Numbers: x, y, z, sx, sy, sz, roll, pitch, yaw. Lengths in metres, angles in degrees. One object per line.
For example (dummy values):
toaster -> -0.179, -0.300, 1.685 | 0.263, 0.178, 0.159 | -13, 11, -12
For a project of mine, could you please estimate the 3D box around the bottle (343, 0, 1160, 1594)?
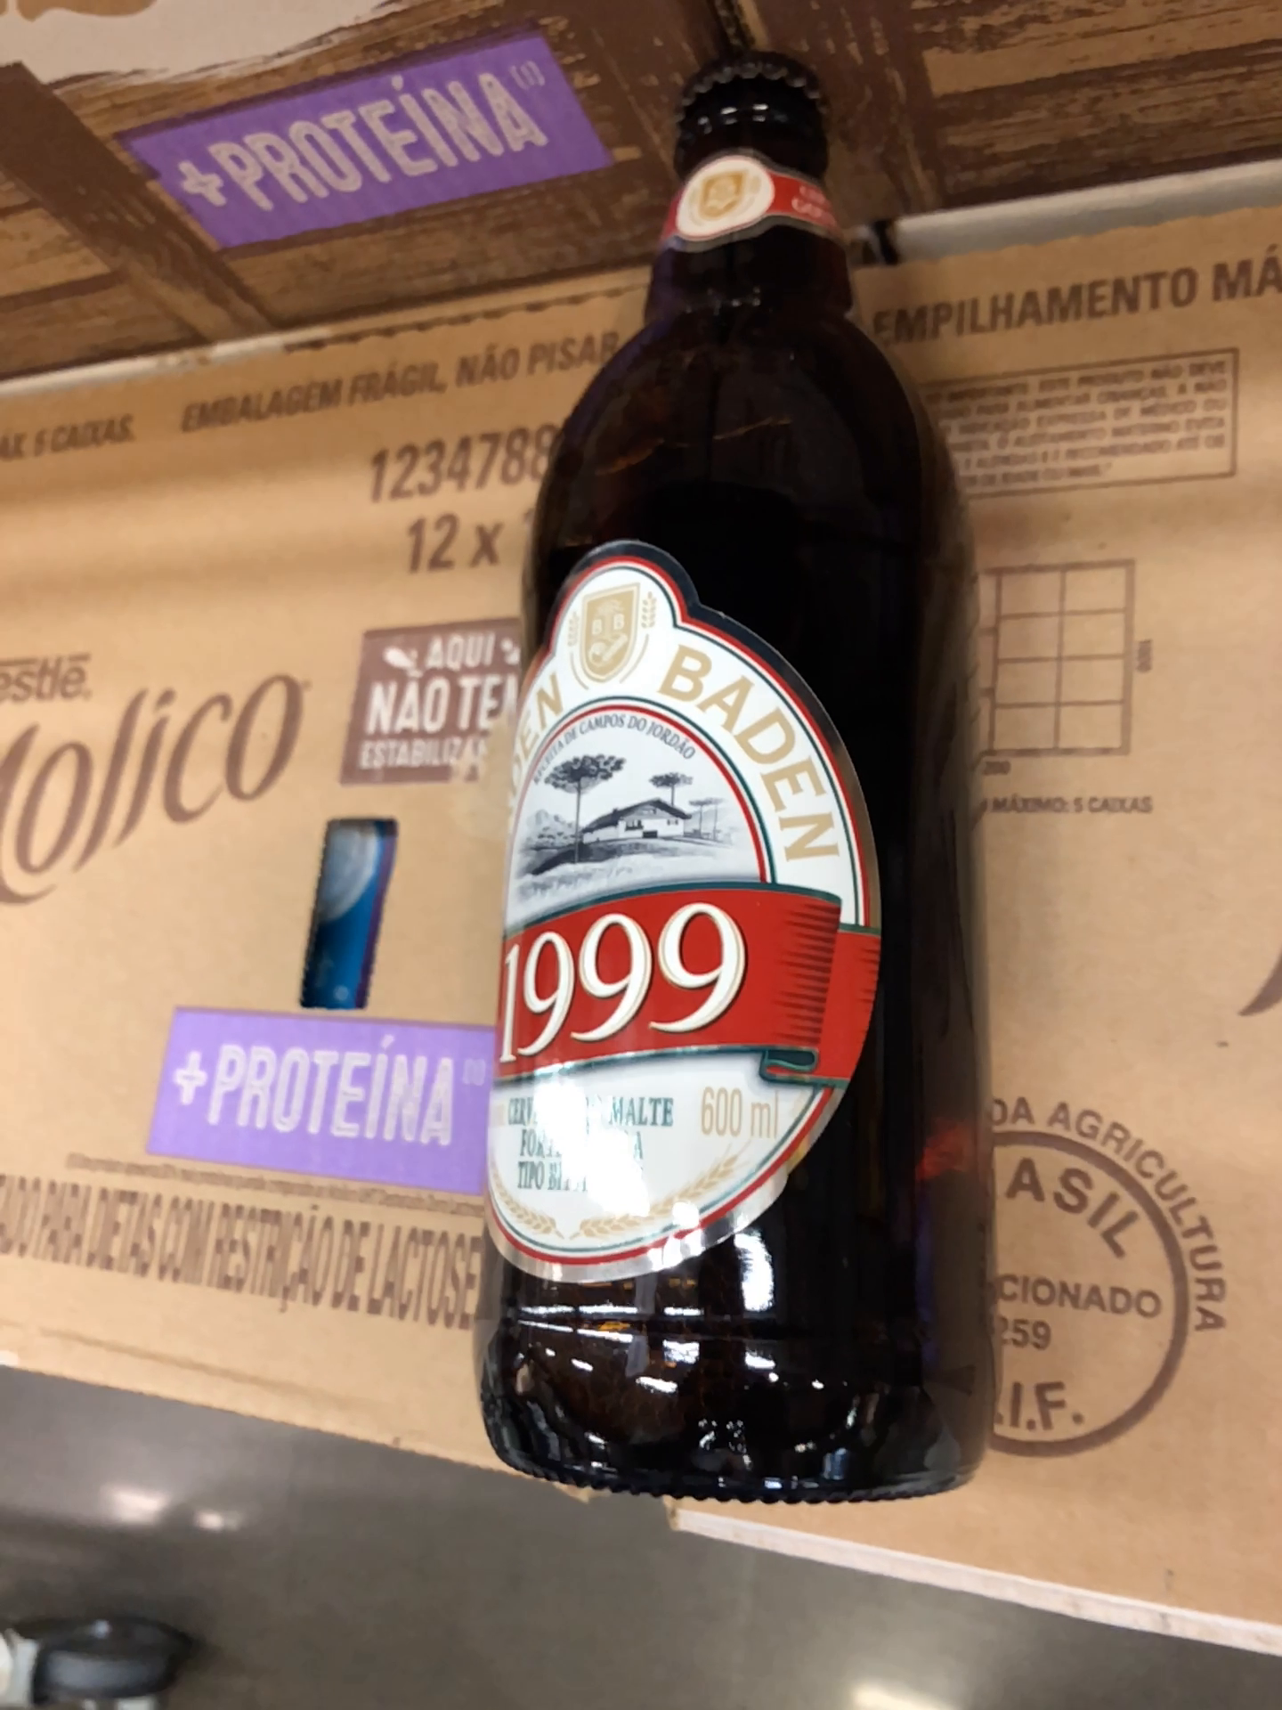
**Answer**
bottle -> 0.027, -0.041, 0.249 | 0.090, 0.100, 0.280 | -6, 71, 23
